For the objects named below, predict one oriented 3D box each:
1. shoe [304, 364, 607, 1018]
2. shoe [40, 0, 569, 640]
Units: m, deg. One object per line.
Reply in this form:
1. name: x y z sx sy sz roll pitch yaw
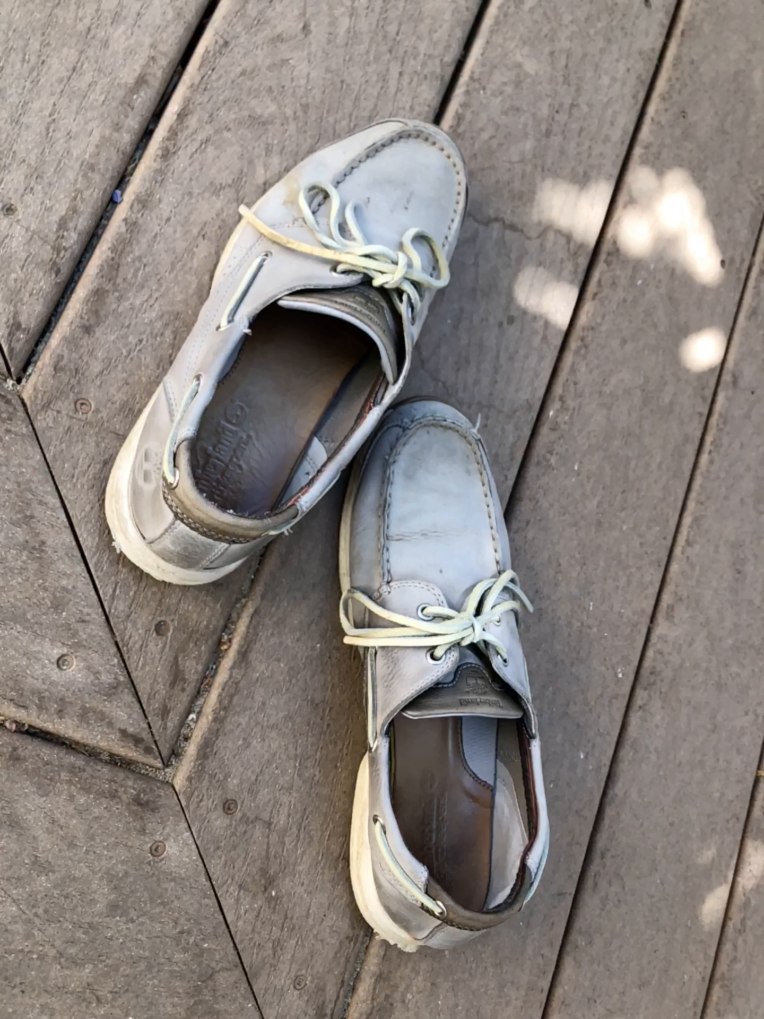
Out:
1. shoe: 0.039 0.093 0.467 0.121 0.109 0.310 5 83 -28
2. shoe: -0.032 -0.102 0.443 0.117 0.099 0.314 35 70 -22
